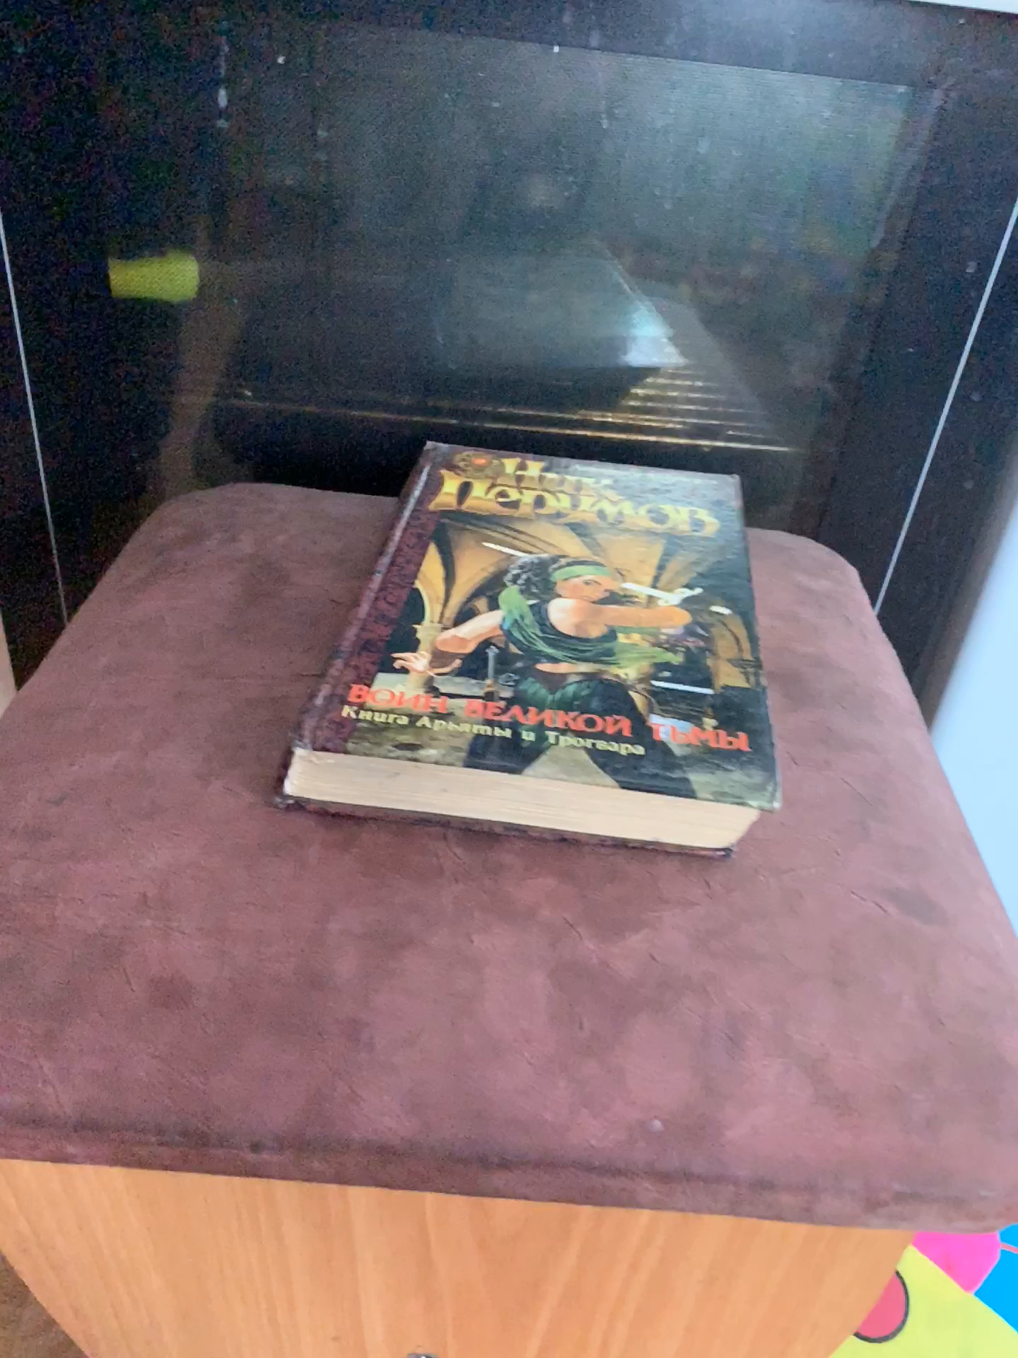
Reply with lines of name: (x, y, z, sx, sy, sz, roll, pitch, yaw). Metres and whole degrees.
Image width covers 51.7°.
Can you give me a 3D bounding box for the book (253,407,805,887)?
book: (0.014, -0.028, 0.357, 0.139, 0.037, 0.207, 8, 35, 2)
